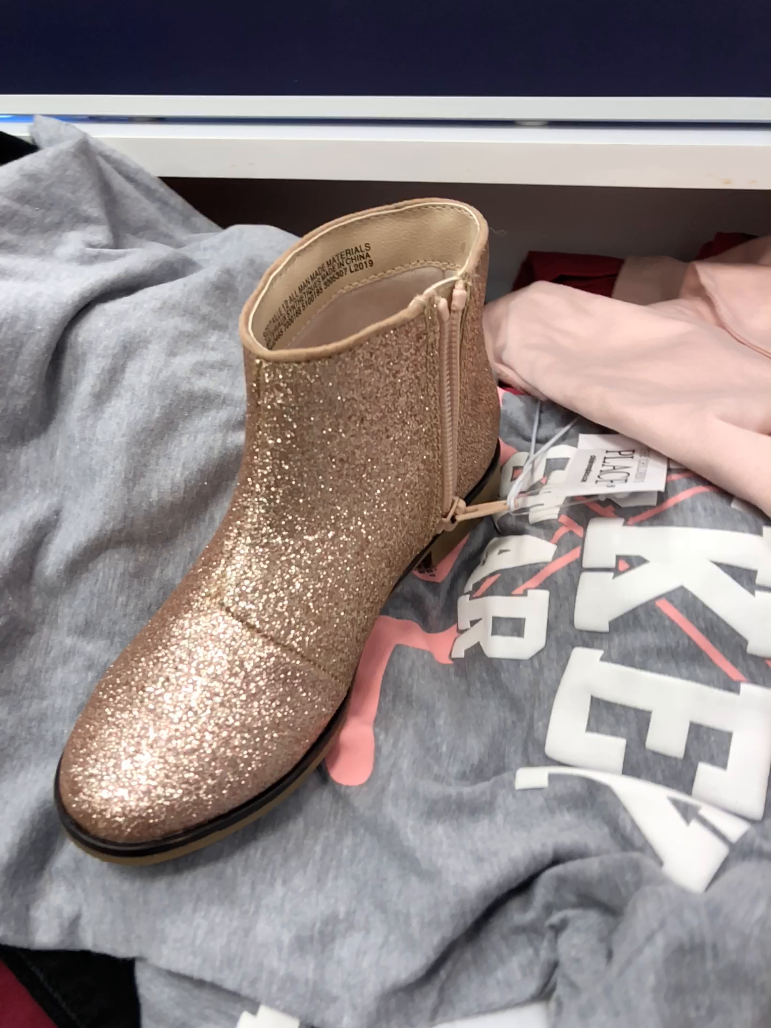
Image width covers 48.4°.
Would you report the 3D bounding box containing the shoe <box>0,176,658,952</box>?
[{"bbox_3d":[-0.010,-0.013,0.276,0.083,0.129,0.238,22,40,31],"label":"shoe"}]
